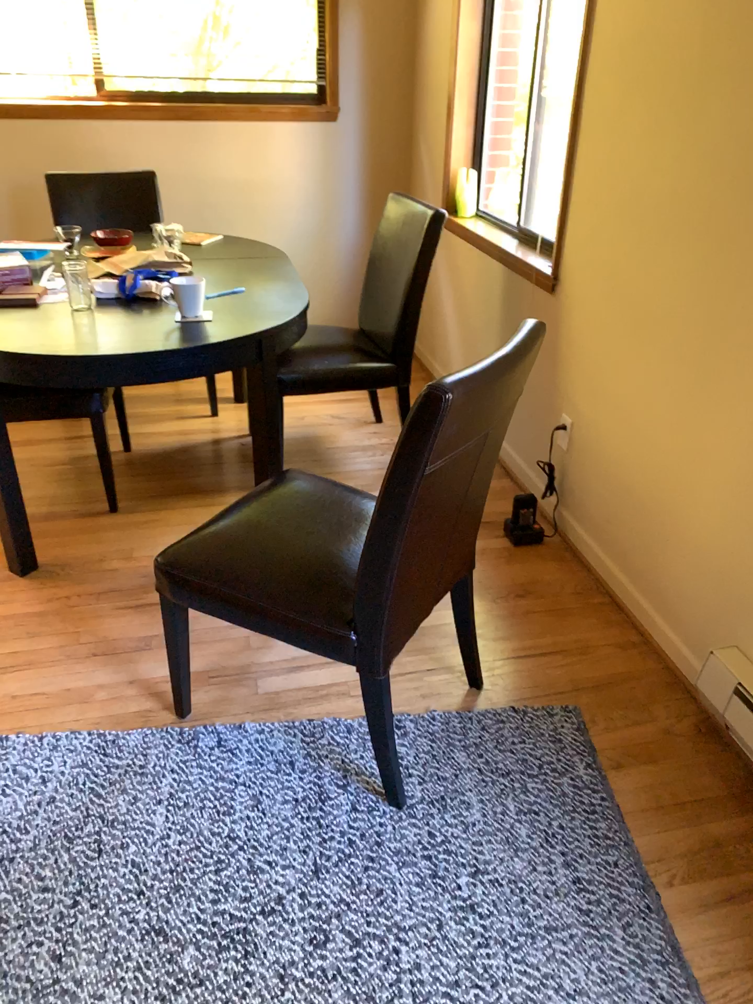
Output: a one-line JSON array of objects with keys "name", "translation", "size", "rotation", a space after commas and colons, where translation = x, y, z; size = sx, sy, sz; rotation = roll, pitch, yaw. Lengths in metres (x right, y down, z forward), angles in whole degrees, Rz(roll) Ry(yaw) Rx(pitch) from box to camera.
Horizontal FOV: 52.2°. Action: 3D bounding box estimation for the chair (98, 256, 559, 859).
[{"name": "chair", "translation": [-0.075, 0.080, 1.689], "size": [0.672, 1.034, 0.562], "rotation": [15, 32, 24]}]
